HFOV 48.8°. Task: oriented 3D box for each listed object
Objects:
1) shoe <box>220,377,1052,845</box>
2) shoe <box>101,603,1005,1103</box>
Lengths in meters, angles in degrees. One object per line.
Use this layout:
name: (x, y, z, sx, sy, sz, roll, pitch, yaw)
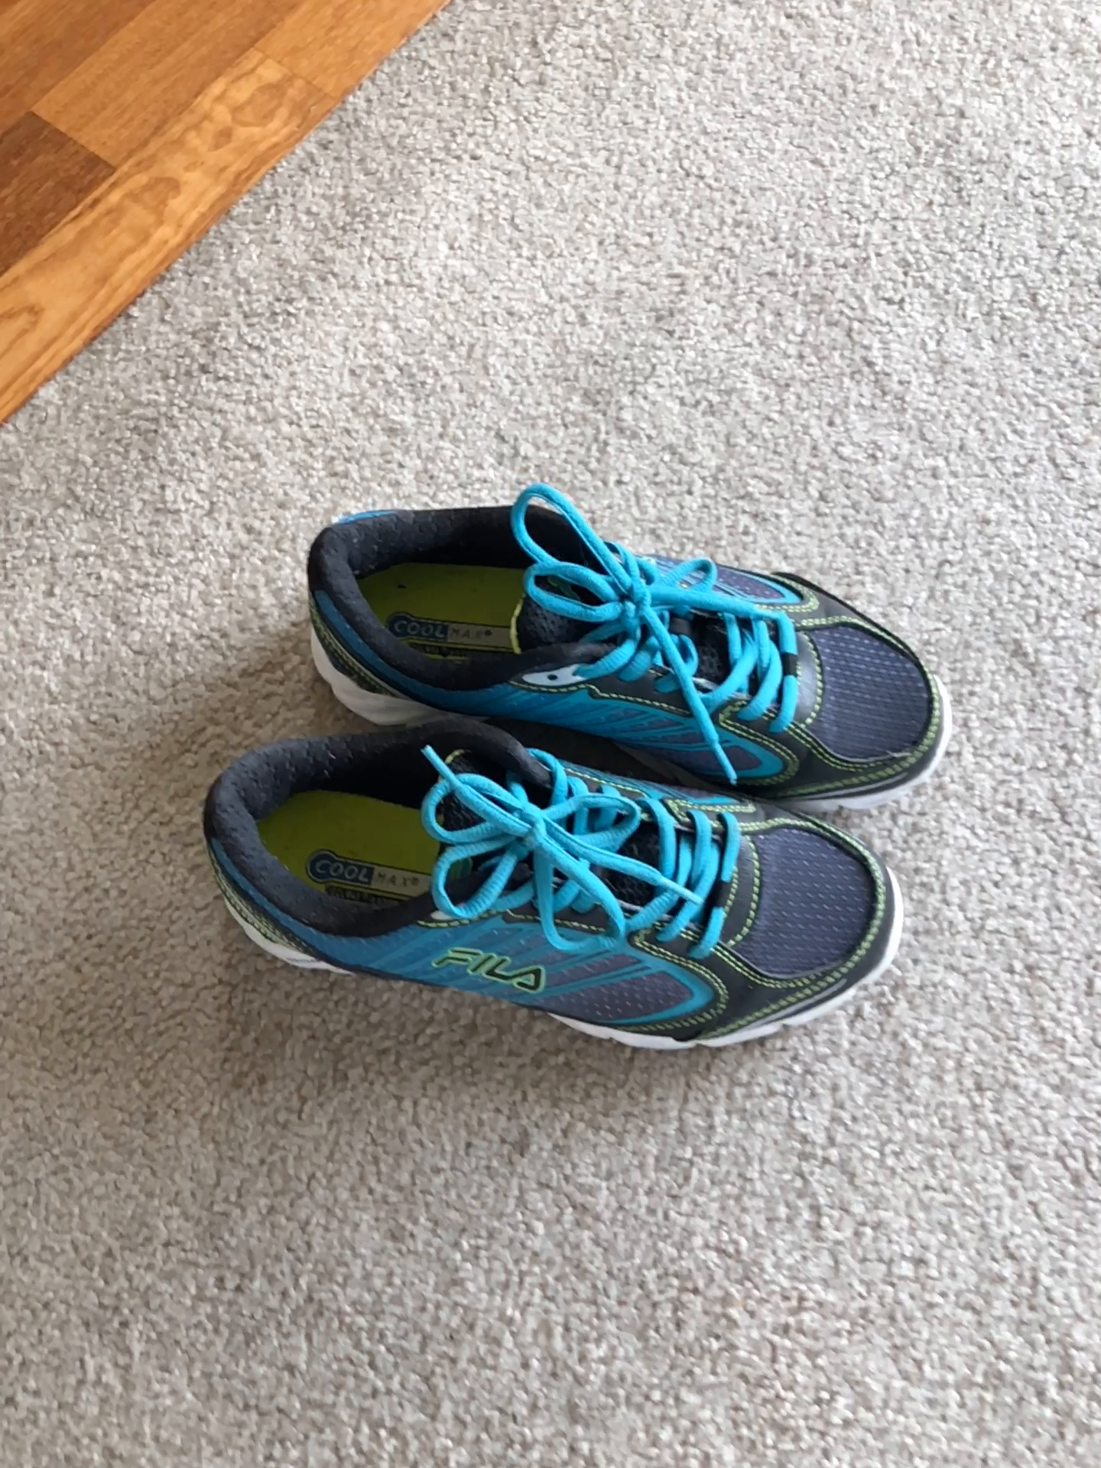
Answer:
shoe: (0.033, -0.043, 0.474, 0.274, 0.119, 0.102, 9, 71, 4)
shoe: (0.005, 0.048, 0.438, 0.271, 0.119, 0.105, 10, 68, 5)
